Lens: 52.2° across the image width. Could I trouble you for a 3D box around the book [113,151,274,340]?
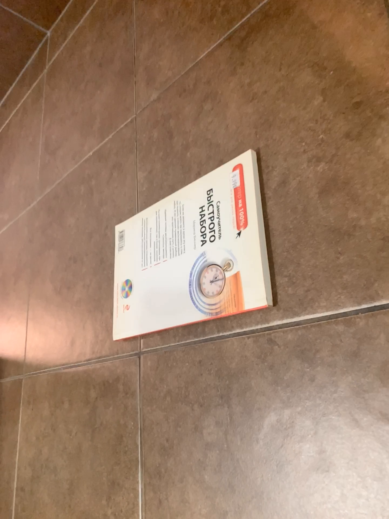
[{"bbox_3d":[-0.018,-0.001,0.392,0.211,0.009,0.134,-21,65,43],"label":"book"}]
